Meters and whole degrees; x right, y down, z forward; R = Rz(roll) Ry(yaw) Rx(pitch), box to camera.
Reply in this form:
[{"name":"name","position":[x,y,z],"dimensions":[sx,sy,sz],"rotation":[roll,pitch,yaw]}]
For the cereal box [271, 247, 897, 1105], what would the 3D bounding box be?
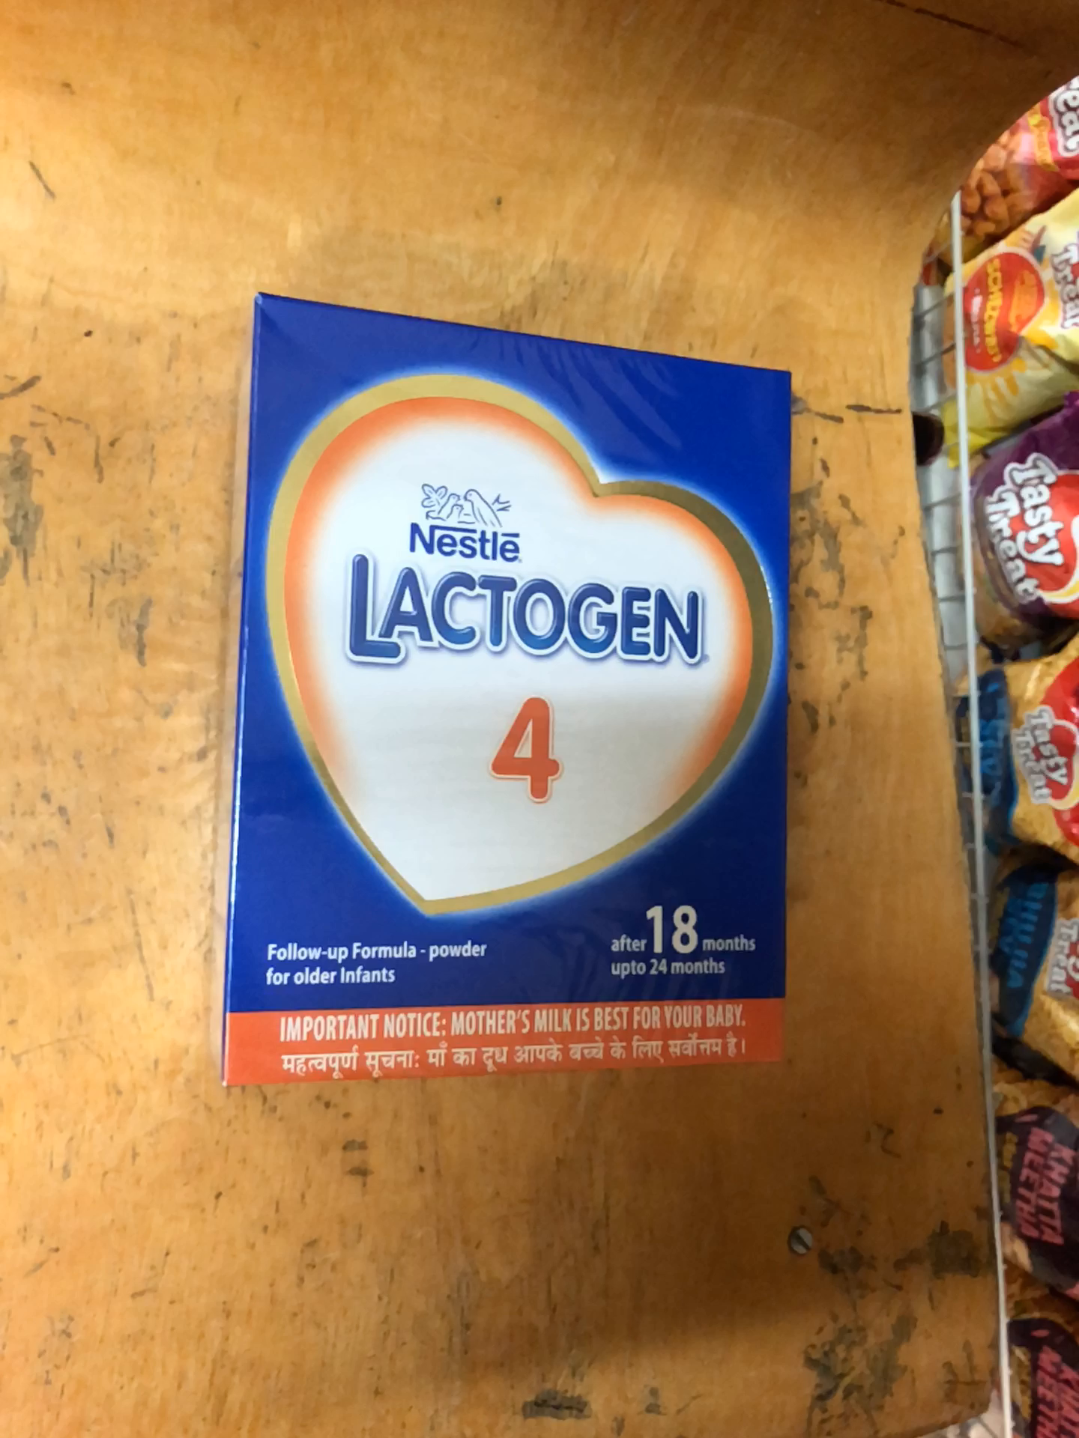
[{"name":"cereal box","position":[0.012,-0.007,0.317],"dimensions":[0.150,0.060,0.190],"rotation":[2,87,-18]}]
